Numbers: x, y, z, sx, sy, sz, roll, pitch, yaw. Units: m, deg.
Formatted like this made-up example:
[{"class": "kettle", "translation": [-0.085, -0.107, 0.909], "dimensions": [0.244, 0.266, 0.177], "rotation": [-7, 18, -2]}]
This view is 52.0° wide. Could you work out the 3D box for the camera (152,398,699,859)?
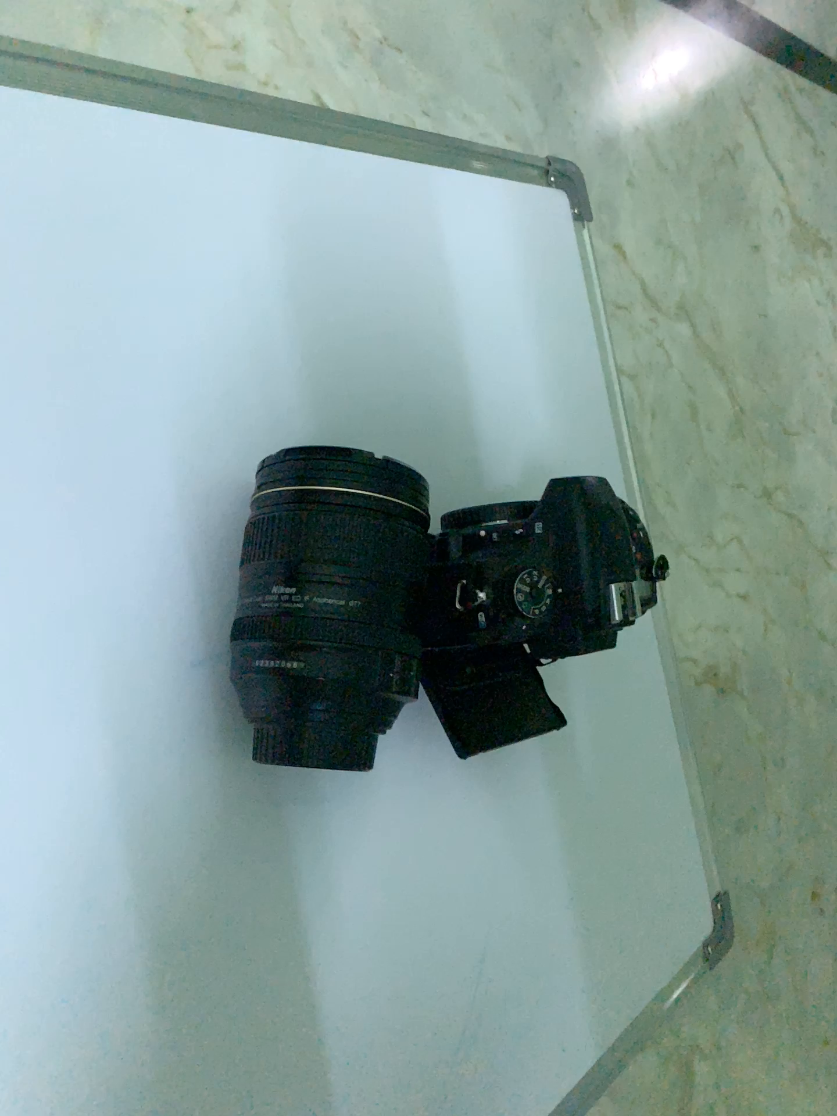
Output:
[{"class": "camera", "translation": [0.020, 0.015, 0.417], "dimensions": [0.241, 0.099, 0.160], "rotation": [-11, 92, -44]}]
